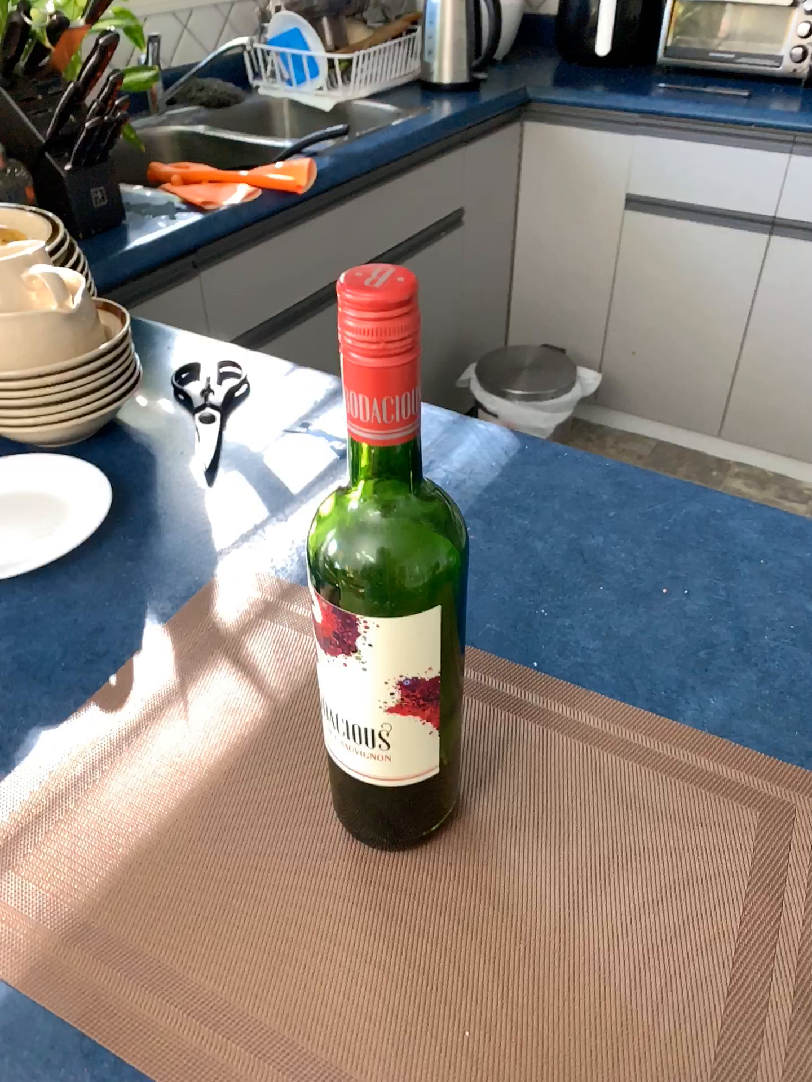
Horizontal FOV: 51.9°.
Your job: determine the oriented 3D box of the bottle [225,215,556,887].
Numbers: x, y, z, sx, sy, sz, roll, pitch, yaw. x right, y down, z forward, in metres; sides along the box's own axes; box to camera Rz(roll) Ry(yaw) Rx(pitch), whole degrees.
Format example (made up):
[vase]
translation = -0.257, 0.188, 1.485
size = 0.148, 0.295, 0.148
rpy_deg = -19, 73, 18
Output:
[bottle]
translation = -0.004, 0.023, 0.377
size = 0.080, 0.297, 0.080
rpy_deg = 0, 38, 0
